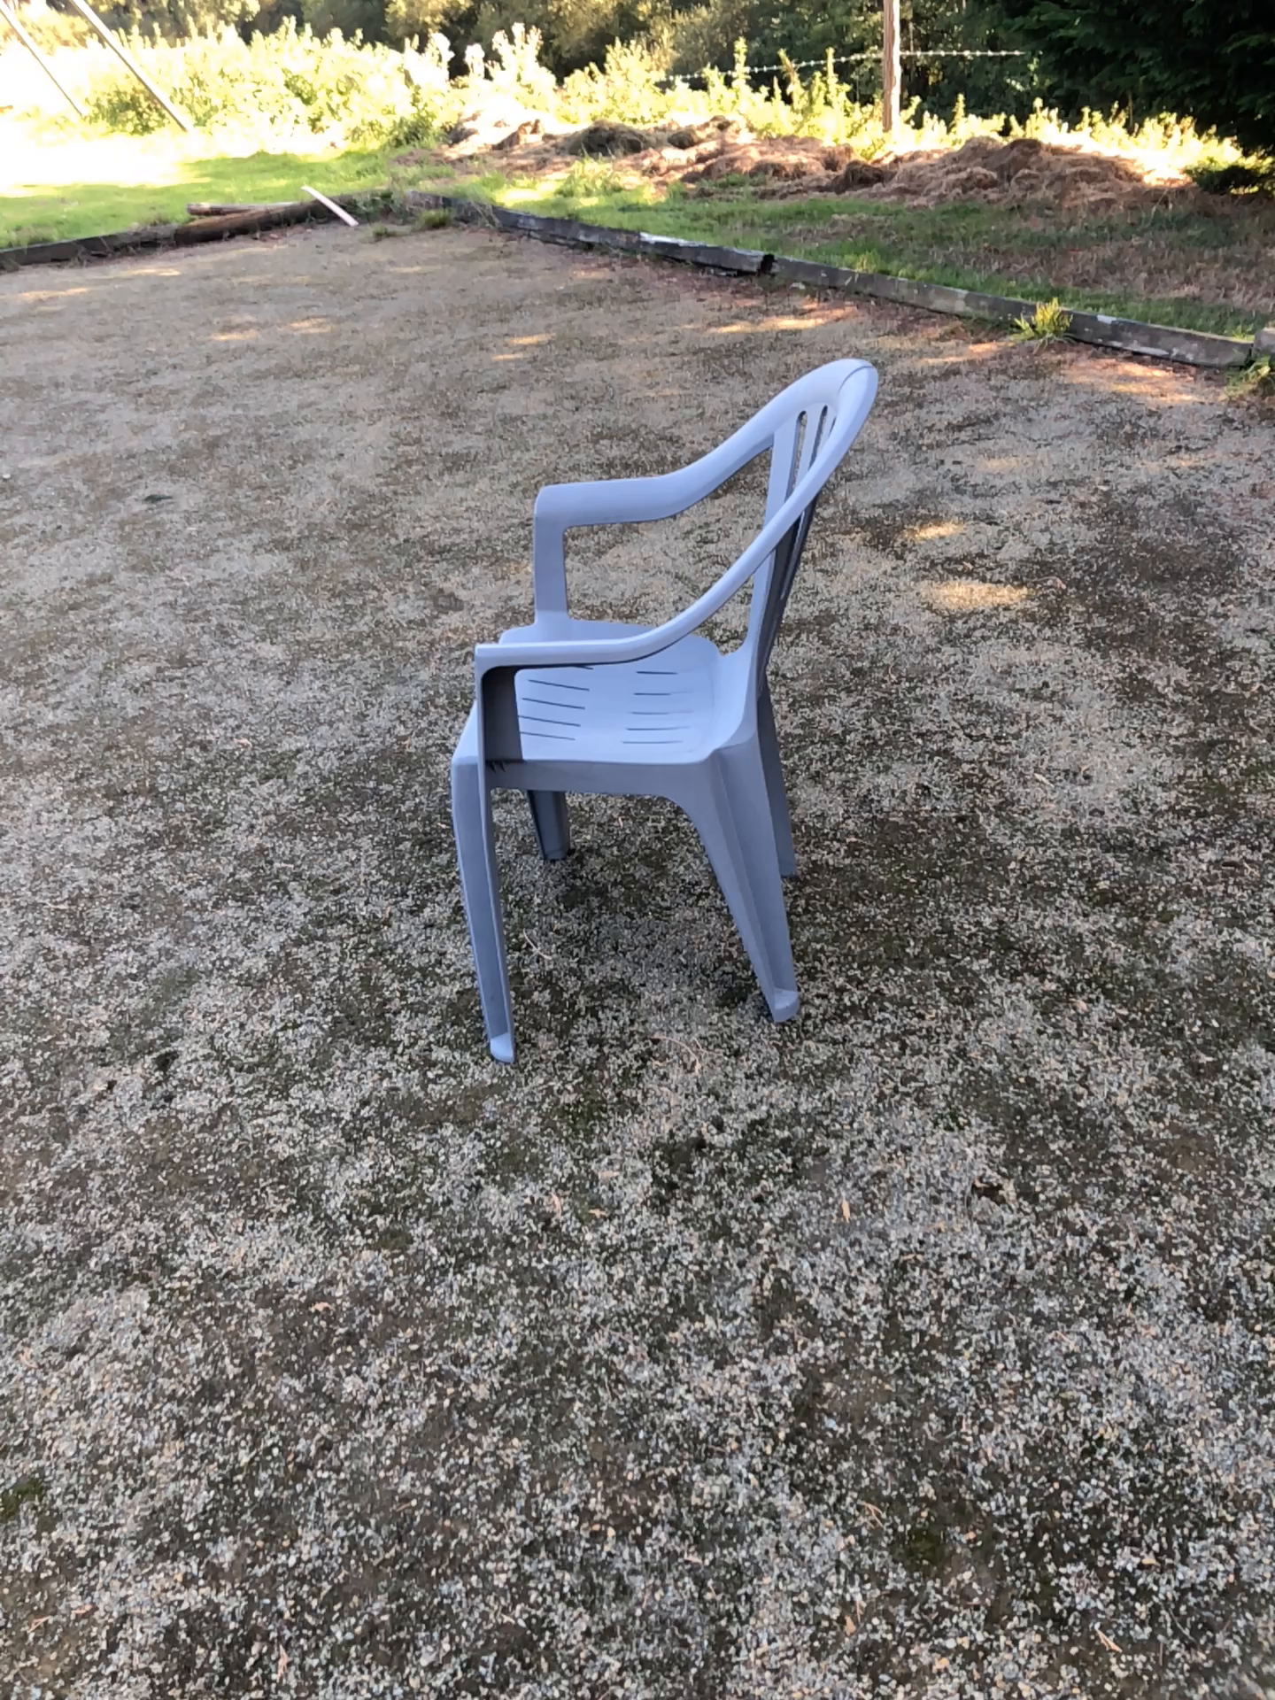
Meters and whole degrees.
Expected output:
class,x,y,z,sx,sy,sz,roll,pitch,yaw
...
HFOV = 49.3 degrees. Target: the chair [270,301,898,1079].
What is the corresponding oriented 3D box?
class,x,y,z,sx,sy,sz,roll,pitch,yaw
chair,0.021,-0.218,1.813,0.620,0.775,0.634,0,33,10
